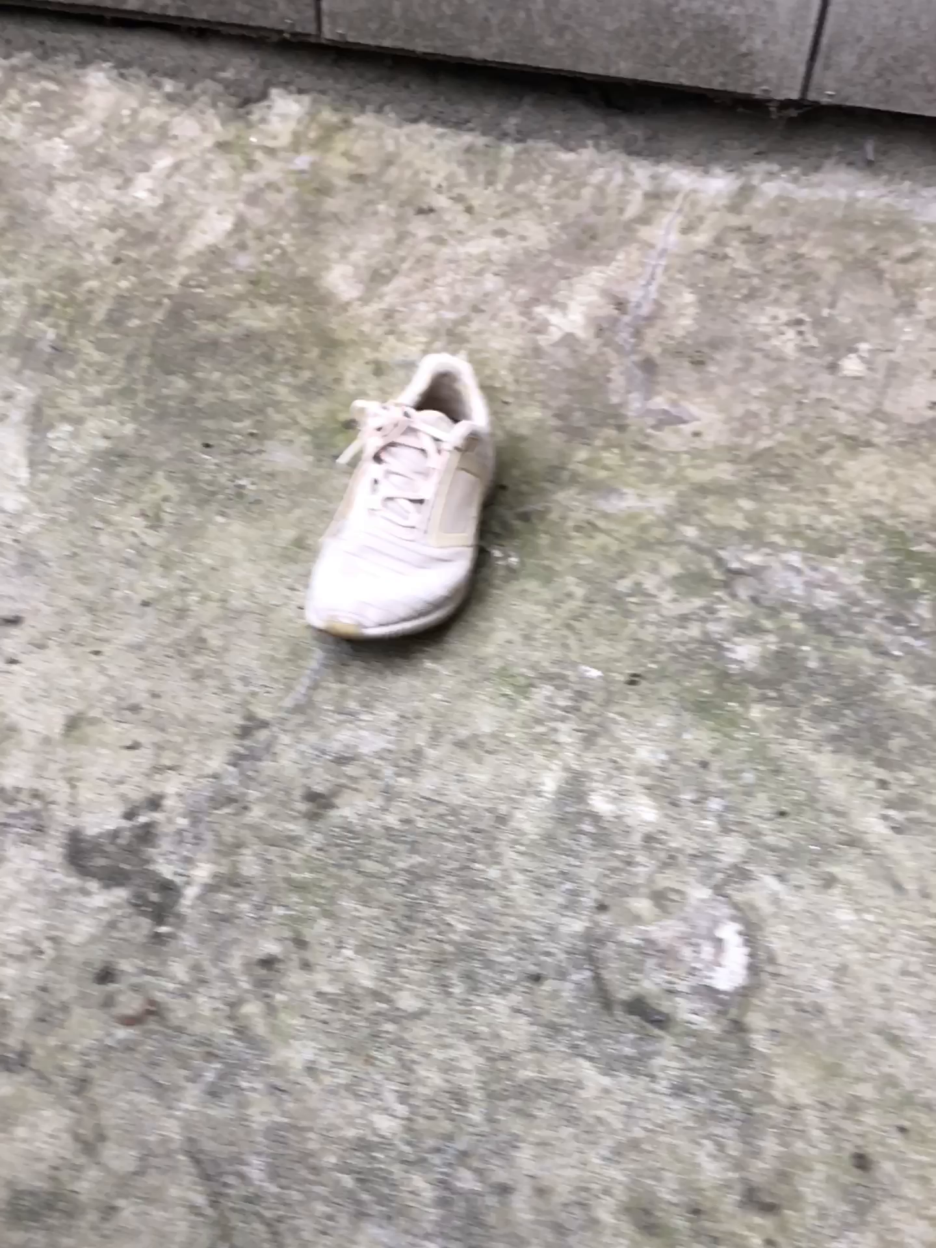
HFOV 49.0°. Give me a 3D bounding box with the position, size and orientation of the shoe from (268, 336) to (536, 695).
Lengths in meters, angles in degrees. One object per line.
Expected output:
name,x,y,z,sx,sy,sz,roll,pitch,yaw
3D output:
shoe,-0.038,-0.100,0.810,0.120,0.109,0.302,11,43,9
